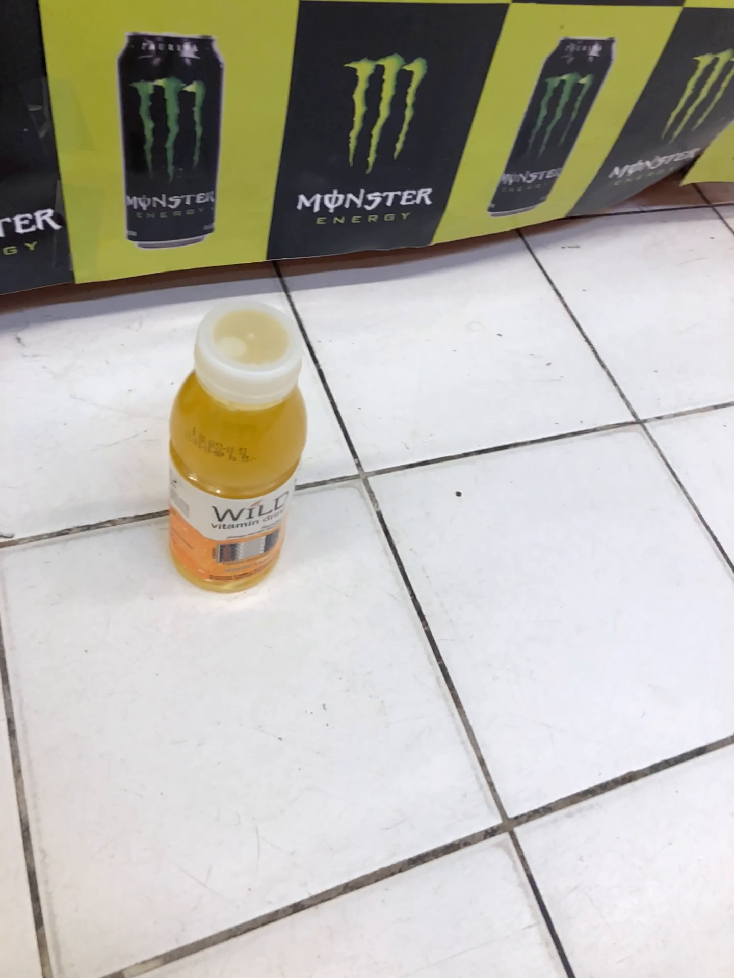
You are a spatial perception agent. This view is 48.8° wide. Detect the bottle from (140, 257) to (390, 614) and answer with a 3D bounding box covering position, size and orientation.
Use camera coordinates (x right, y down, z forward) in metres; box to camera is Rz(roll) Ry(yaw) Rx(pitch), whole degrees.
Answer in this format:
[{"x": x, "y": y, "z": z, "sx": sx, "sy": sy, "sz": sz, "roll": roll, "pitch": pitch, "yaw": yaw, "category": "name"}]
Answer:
[{"x": -0.052, "y": -0.017, "z": 0.346, "sx": 0.070, "sy": 0.139, "sz": 0.070, "roll": 7, "pitch": 55, "yaw": -10, "category": "bottle"}]
